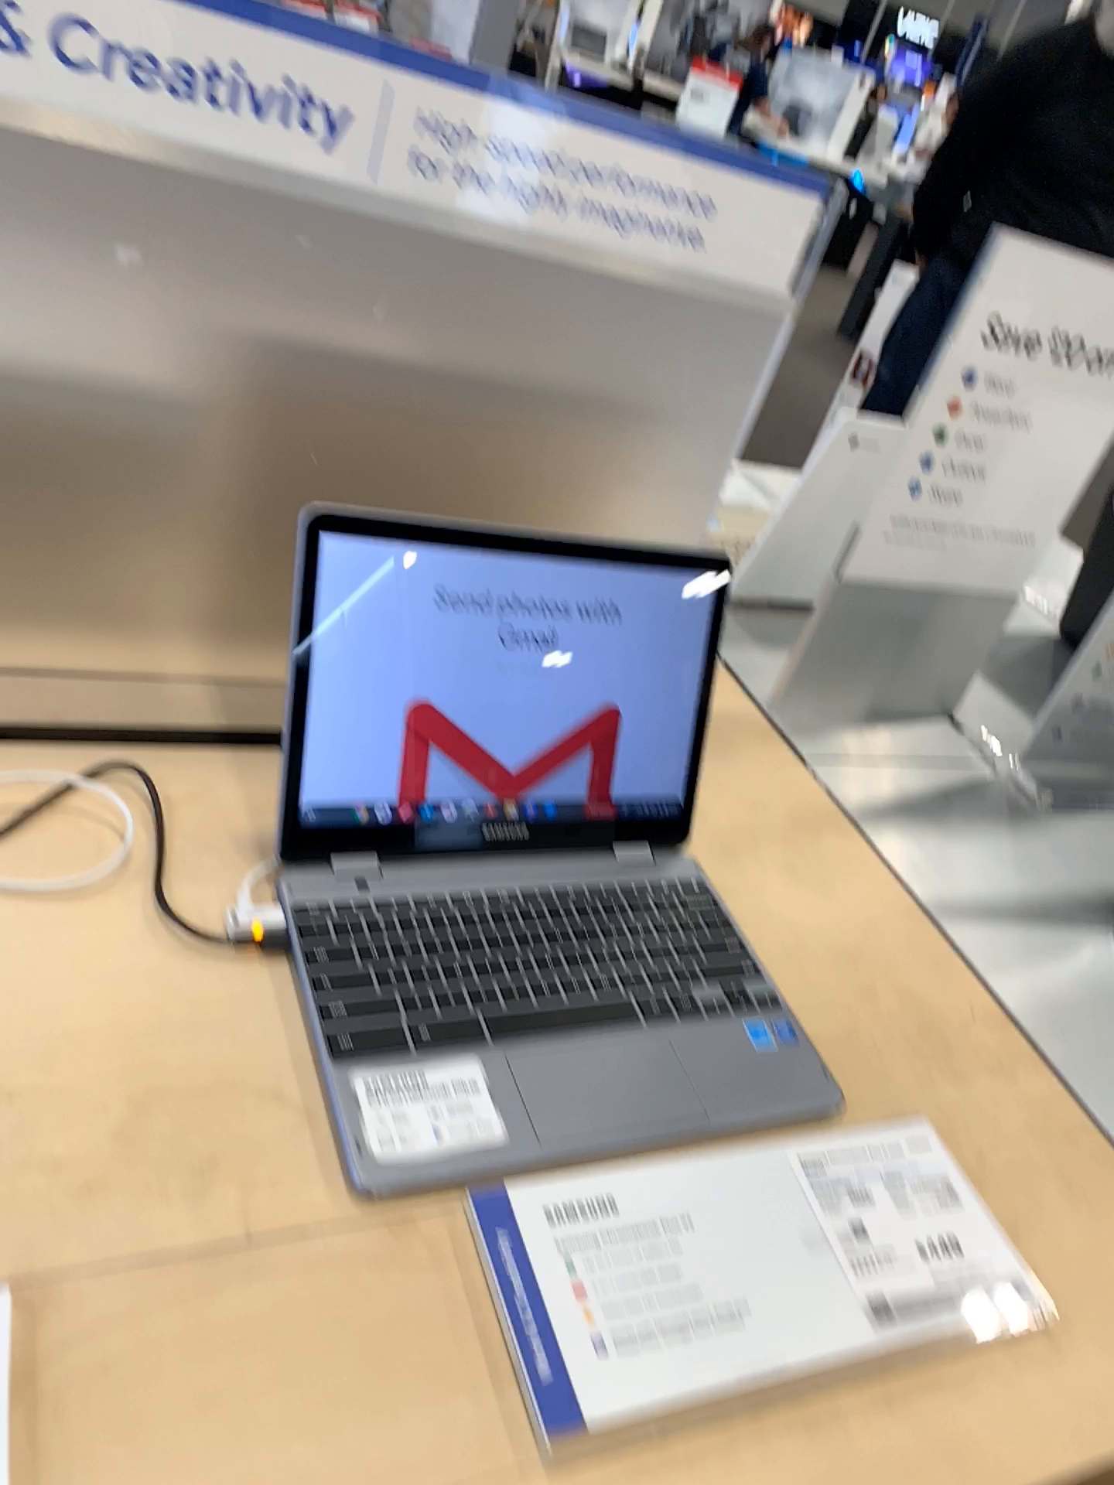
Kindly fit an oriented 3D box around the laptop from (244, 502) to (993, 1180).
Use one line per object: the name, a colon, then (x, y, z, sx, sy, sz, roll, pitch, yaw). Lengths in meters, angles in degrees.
laptop: (0.007, 0.036, 0.615, 0.274, 0.183, 0.276, 1, 38, -28)
